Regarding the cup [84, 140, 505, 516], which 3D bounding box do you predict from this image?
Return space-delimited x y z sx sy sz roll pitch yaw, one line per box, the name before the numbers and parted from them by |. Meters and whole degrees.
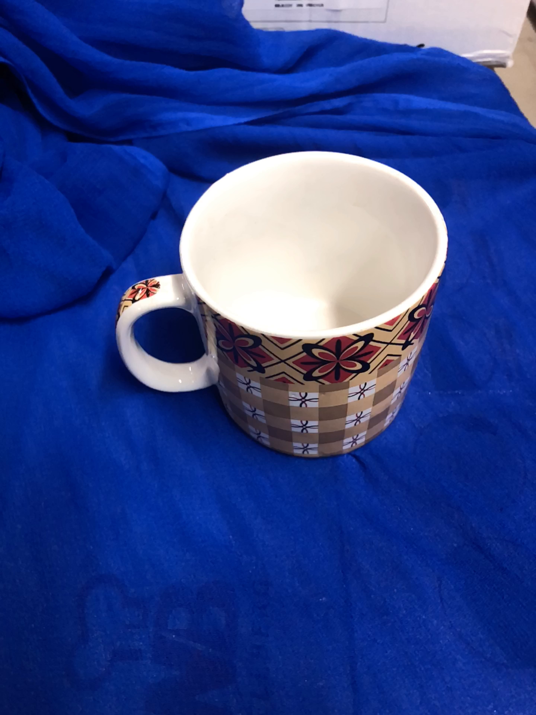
cup | 0.002 -0.005 0.202 0.100 0.099 0.070 -6 55 -6
